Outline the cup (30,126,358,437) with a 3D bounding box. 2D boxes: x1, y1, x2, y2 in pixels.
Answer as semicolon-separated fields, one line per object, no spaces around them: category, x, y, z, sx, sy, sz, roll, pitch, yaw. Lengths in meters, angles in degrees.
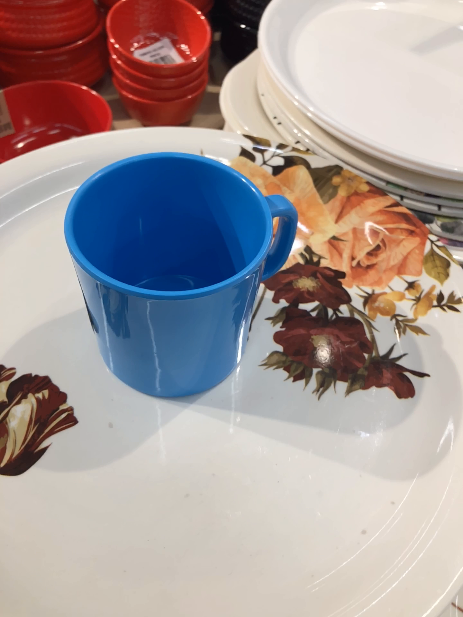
cup;-0.019;-0.013;0.248;0.110;0.090;0.080;-21;59;-18
